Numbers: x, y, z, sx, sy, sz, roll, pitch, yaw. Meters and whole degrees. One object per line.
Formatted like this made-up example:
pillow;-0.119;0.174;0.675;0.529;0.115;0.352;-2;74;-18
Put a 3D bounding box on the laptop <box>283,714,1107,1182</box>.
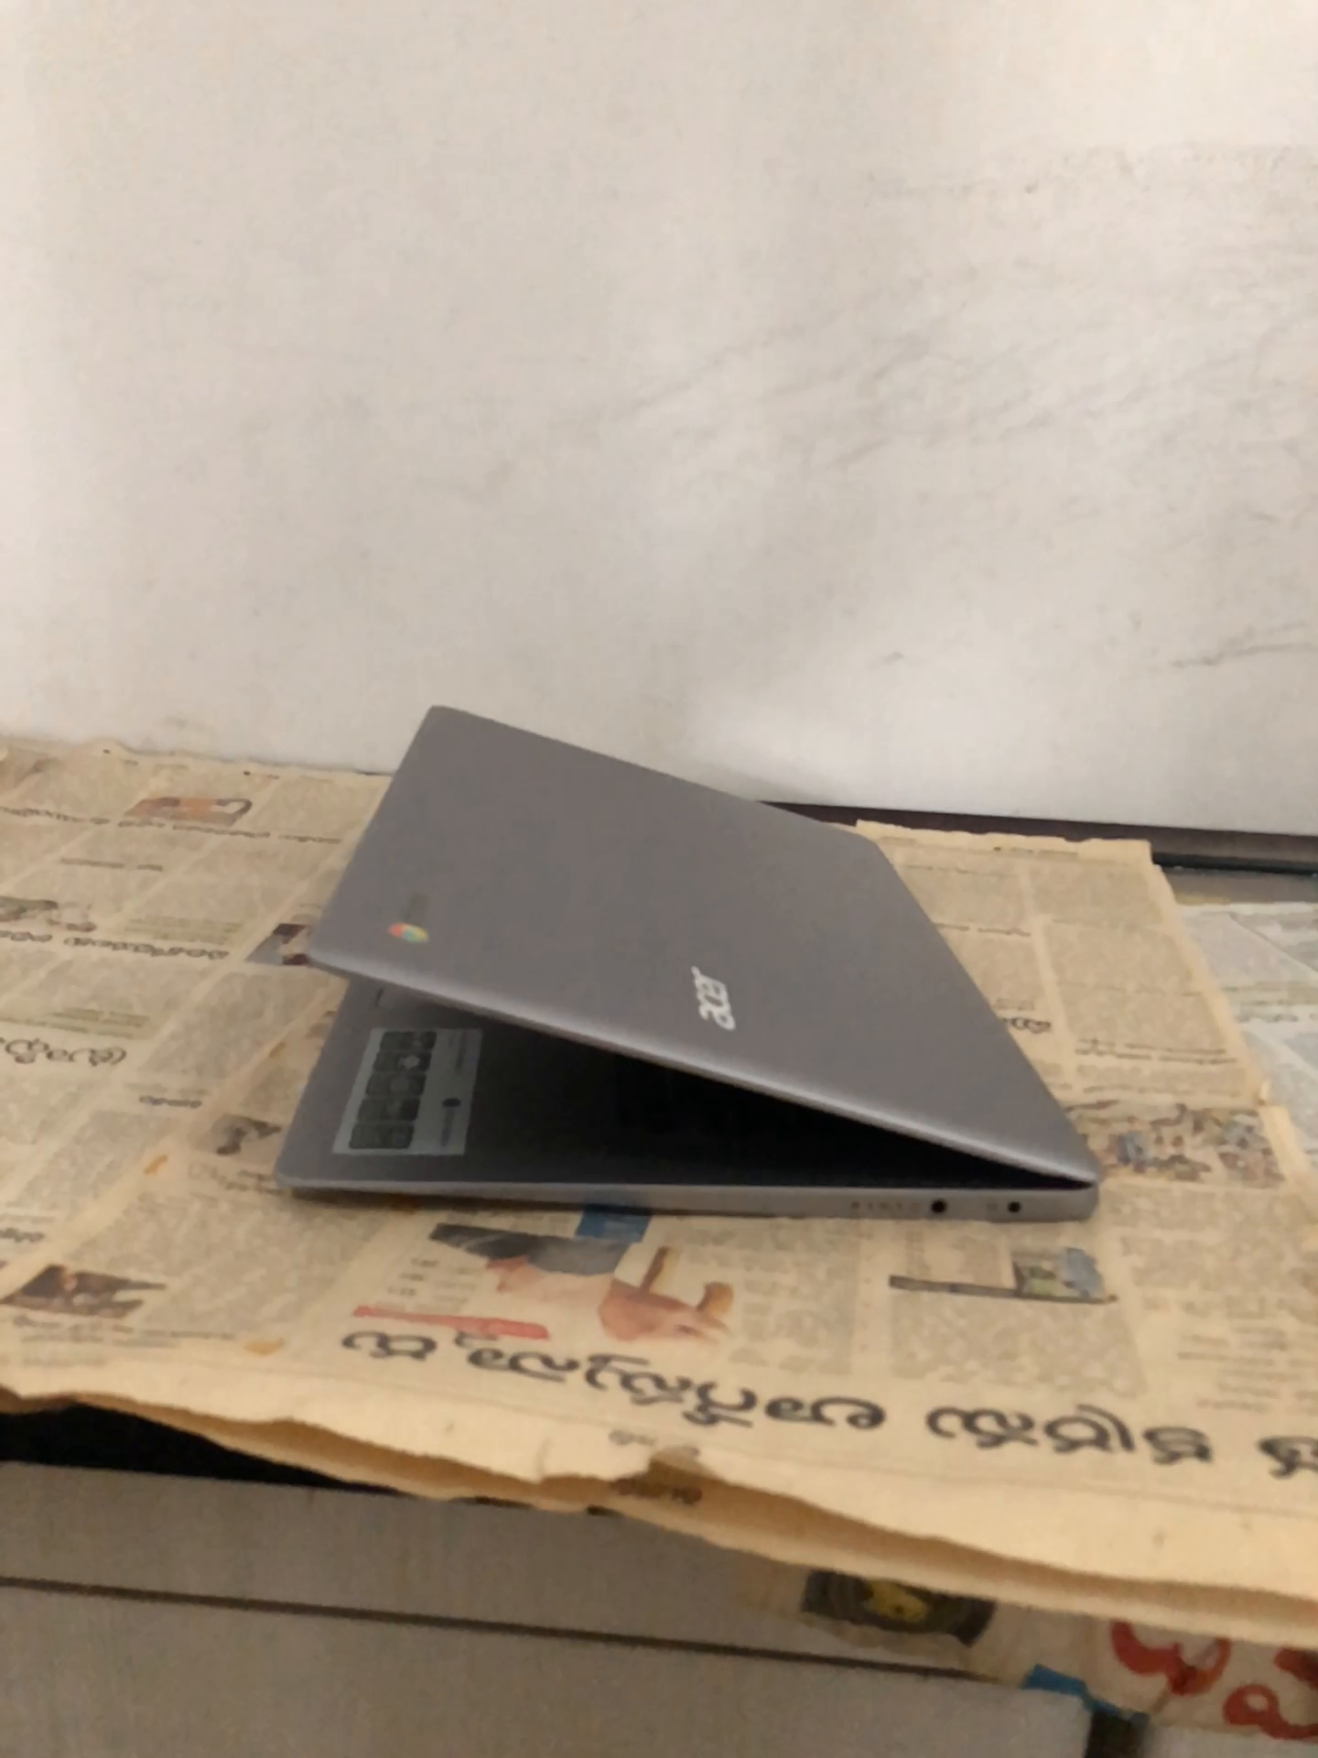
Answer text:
laptop;0.001;0.002;0.534;0.210;0.058;0.331;2;17;-3
